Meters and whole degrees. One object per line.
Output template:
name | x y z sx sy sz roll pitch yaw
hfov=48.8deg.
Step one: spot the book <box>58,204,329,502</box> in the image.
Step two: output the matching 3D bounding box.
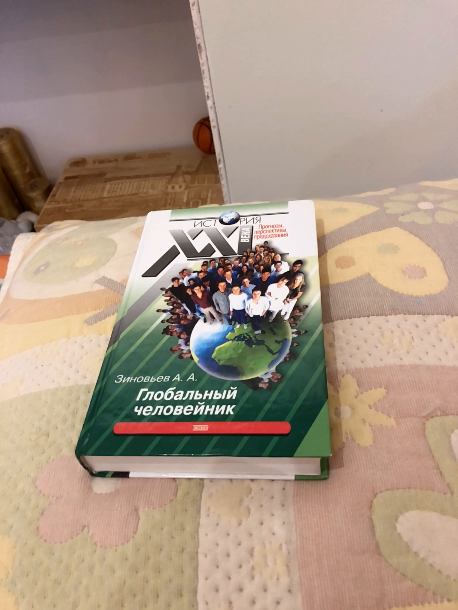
book | -0.009 0.015 0.326 0.133 0.035 0.208 -2 46 9
